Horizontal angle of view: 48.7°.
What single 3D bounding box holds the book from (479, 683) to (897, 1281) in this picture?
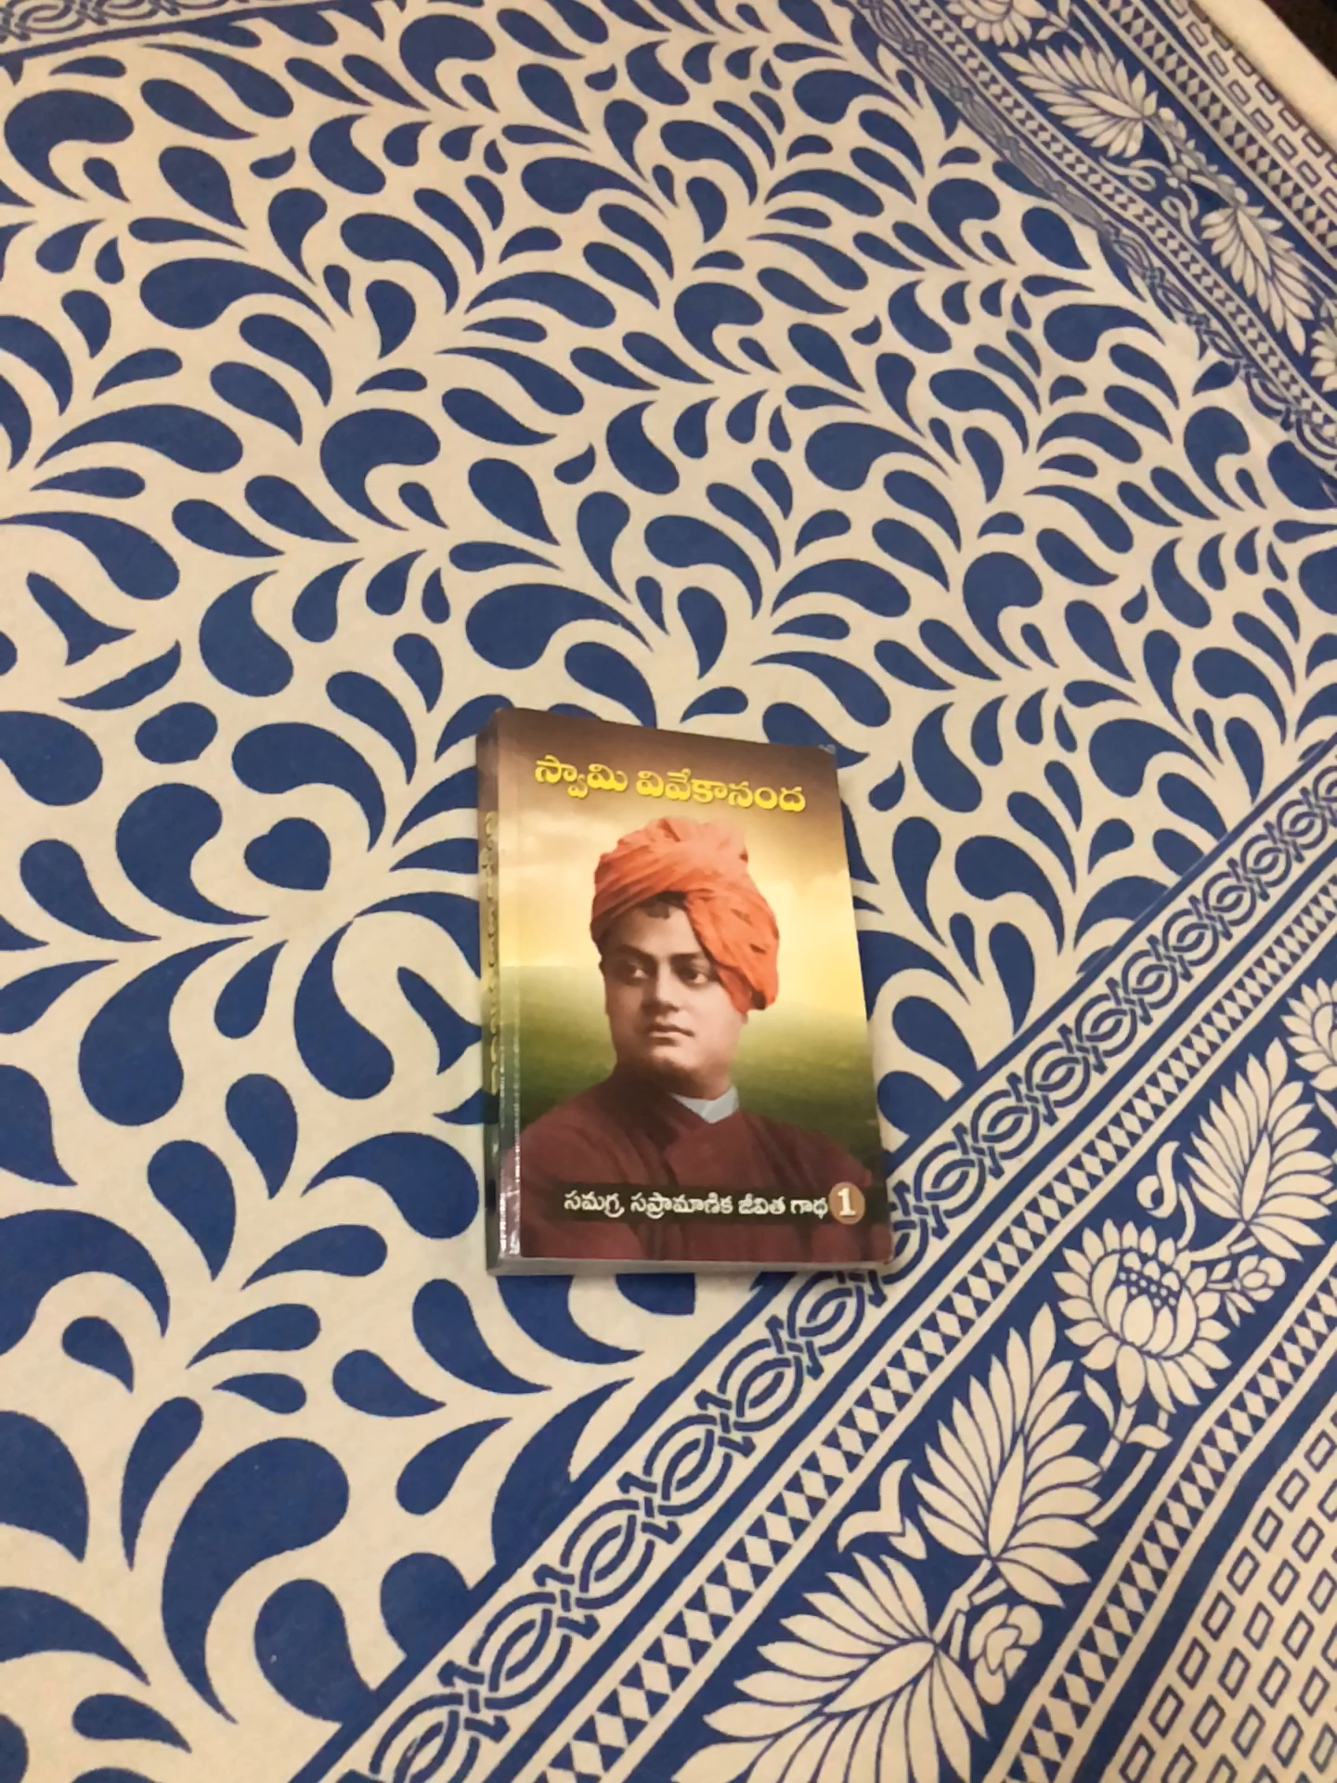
[{"bbox_3d":[0.003,0.033,0.540,0.140,0.030,0.210,6,65,-21],"label":"book"}]
